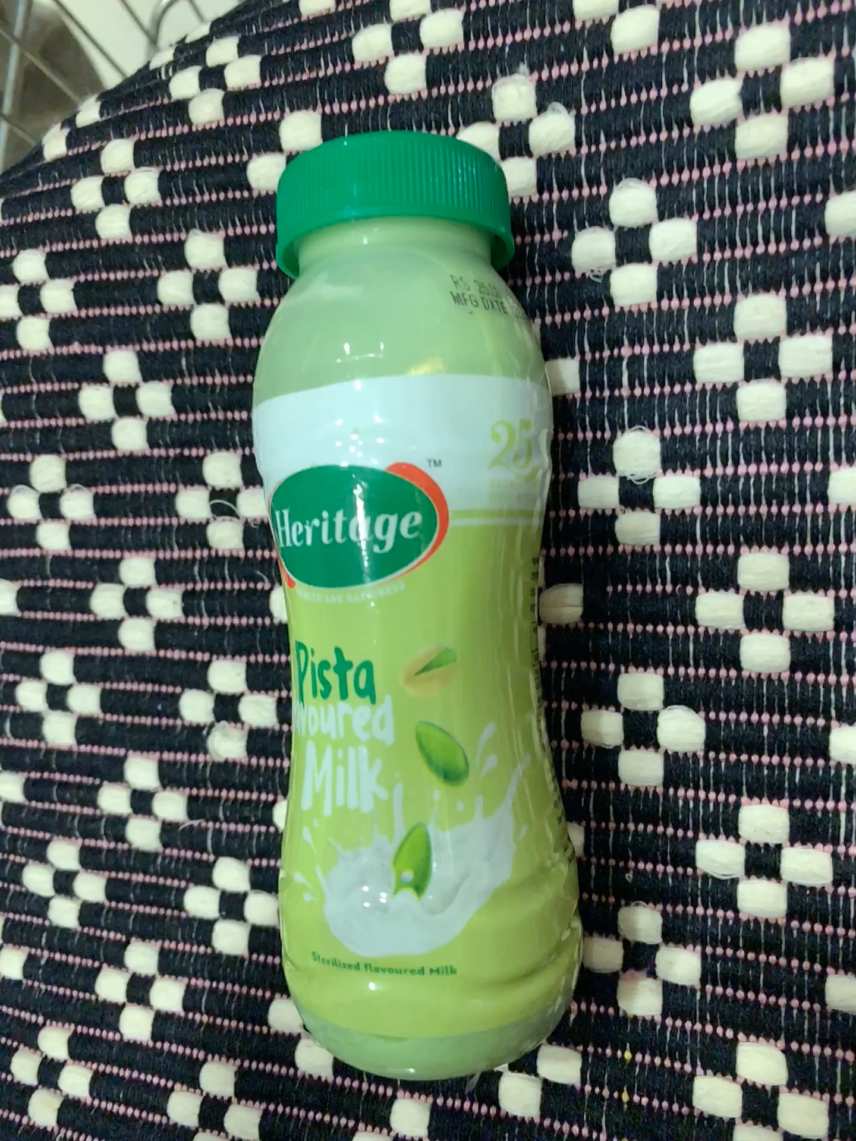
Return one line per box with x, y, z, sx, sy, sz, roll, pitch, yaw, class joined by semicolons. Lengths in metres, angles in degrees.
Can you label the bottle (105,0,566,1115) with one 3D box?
-0.012;-0.008;0.142;0.050;0.050;0.150;-4;87;19;bottle
